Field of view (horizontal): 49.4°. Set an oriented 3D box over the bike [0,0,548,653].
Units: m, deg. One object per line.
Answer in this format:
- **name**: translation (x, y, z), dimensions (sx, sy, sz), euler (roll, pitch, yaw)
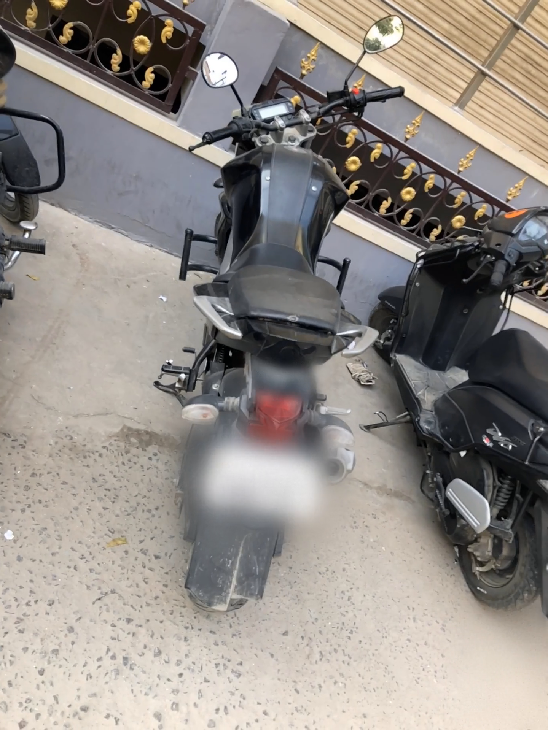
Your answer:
- **bike**: translation (-0.165, -0.398, 1.802), dimensions (0.692, 1.197, 1.766), euler (22, 32, -21)
